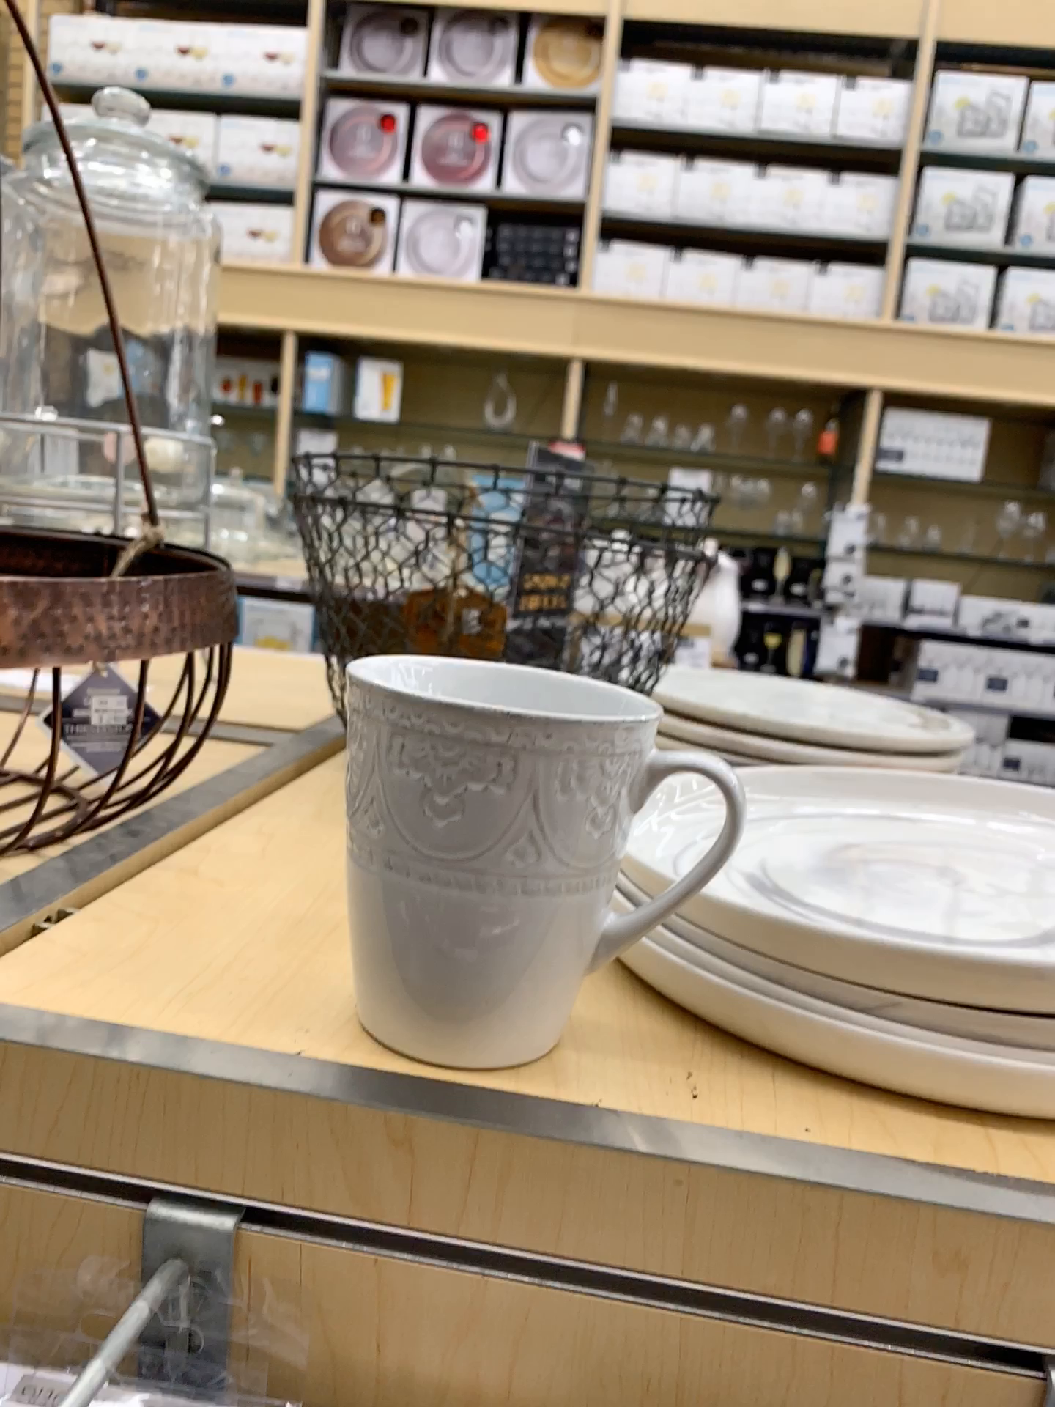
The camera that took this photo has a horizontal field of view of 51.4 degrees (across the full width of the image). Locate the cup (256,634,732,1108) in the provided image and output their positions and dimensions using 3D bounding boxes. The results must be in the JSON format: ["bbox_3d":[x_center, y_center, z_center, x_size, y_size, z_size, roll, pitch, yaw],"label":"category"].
[{"bbox_3d":[-0.005,0.043,0.352,0.124,0.107,0.099,8,10,9],"label":"cup"}]
